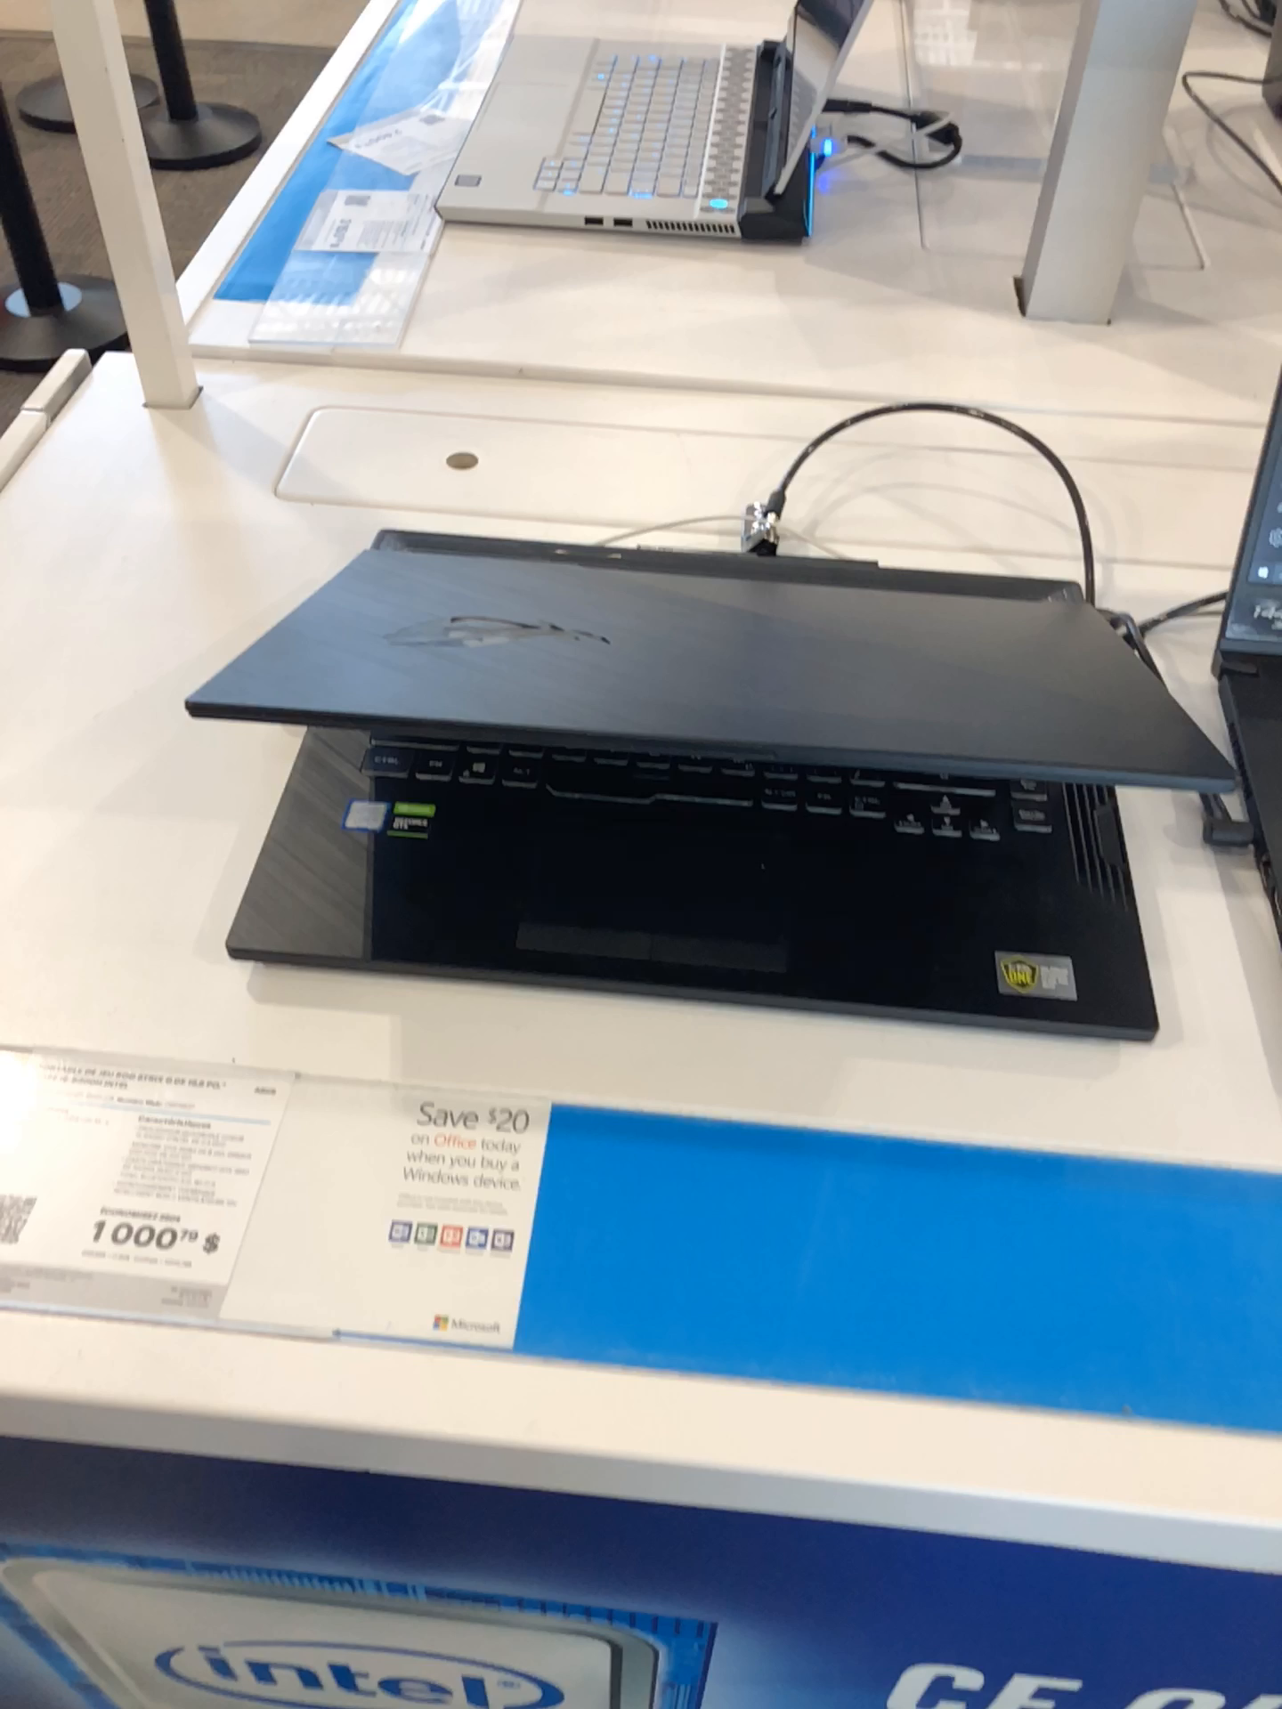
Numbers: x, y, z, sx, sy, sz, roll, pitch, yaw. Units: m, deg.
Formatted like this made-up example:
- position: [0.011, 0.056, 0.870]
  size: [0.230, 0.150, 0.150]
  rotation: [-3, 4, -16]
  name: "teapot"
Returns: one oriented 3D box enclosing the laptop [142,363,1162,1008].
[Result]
- position: [0.013, -0.084, 0.580]
  size: [0.331, 0.097, 0.264]
  rotation: [4, 48, 5]
  name: "laptop"
